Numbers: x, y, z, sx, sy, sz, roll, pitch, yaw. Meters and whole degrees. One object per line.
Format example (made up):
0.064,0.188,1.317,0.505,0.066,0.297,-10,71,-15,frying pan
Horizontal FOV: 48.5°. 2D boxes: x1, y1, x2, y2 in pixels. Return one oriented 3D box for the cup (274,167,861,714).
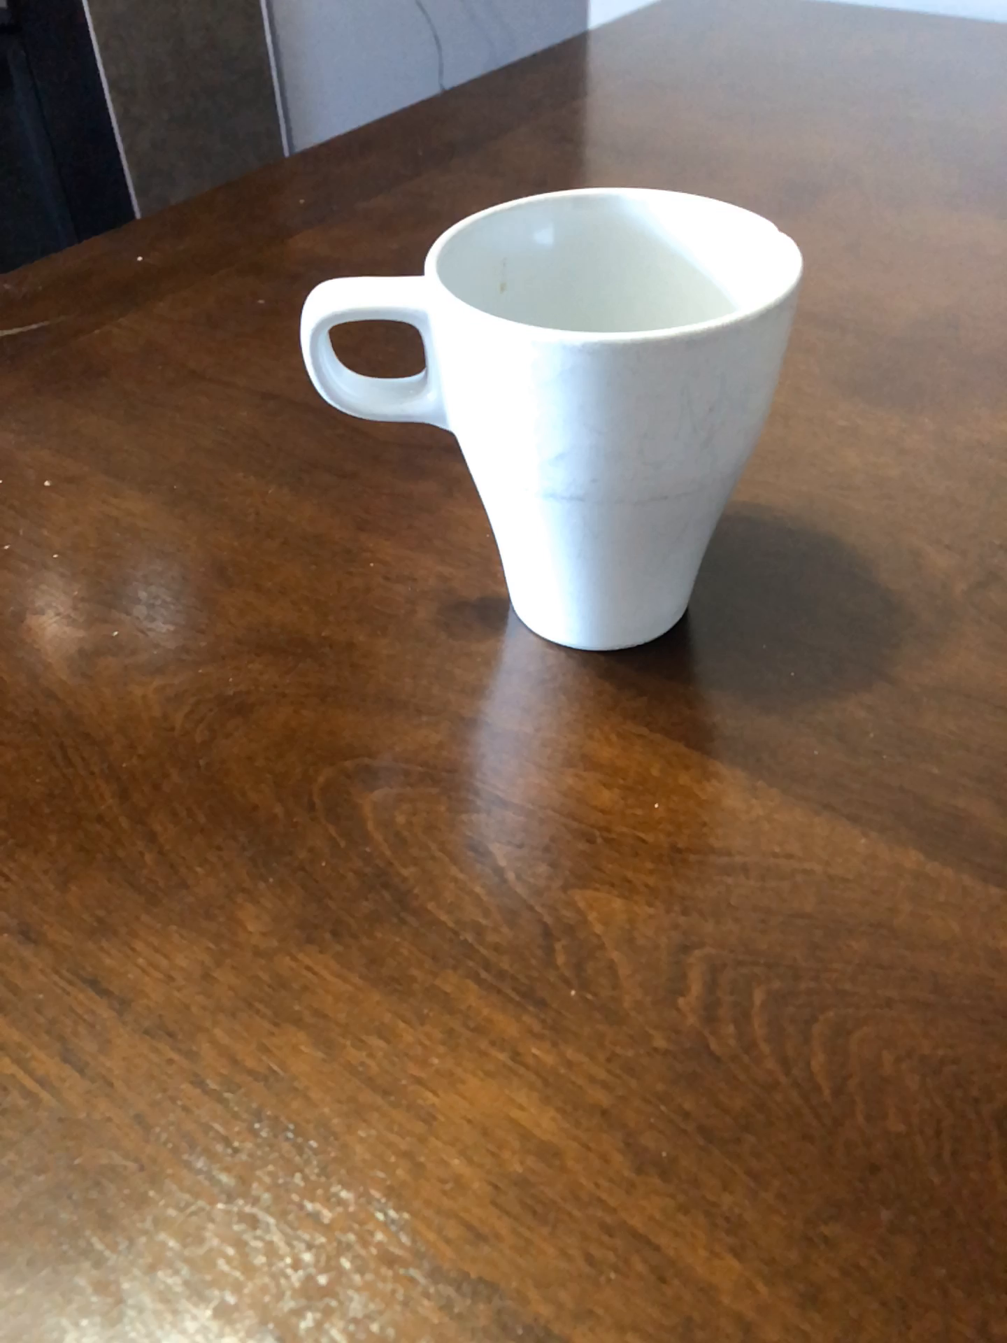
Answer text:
0.010,-0.060,0.288,0.120,0.100,0.080,-7,42,-5,cup
